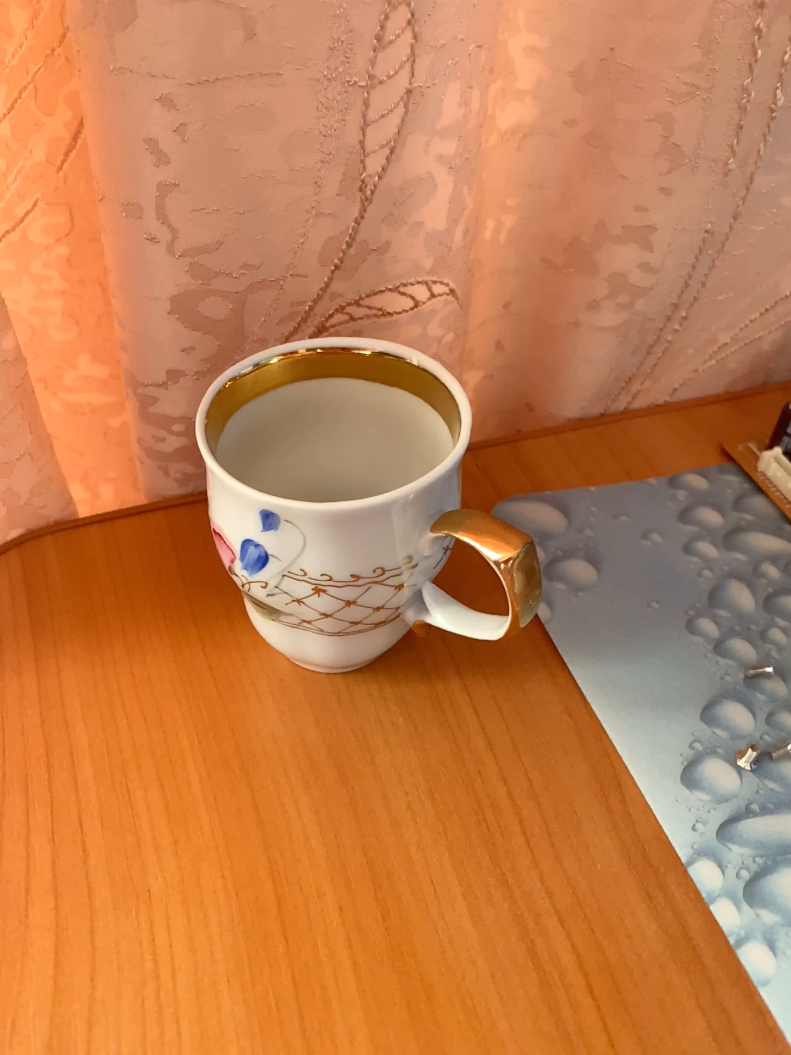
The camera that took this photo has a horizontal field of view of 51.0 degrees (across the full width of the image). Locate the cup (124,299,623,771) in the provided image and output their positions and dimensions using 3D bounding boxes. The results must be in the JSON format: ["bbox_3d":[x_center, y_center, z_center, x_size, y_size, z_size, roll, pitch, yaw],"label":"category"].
[{"bbox_3d":[-0.005,-0.003,0.187,0.083,0.055,0.059,26,48,22],"label":"cup"}]
